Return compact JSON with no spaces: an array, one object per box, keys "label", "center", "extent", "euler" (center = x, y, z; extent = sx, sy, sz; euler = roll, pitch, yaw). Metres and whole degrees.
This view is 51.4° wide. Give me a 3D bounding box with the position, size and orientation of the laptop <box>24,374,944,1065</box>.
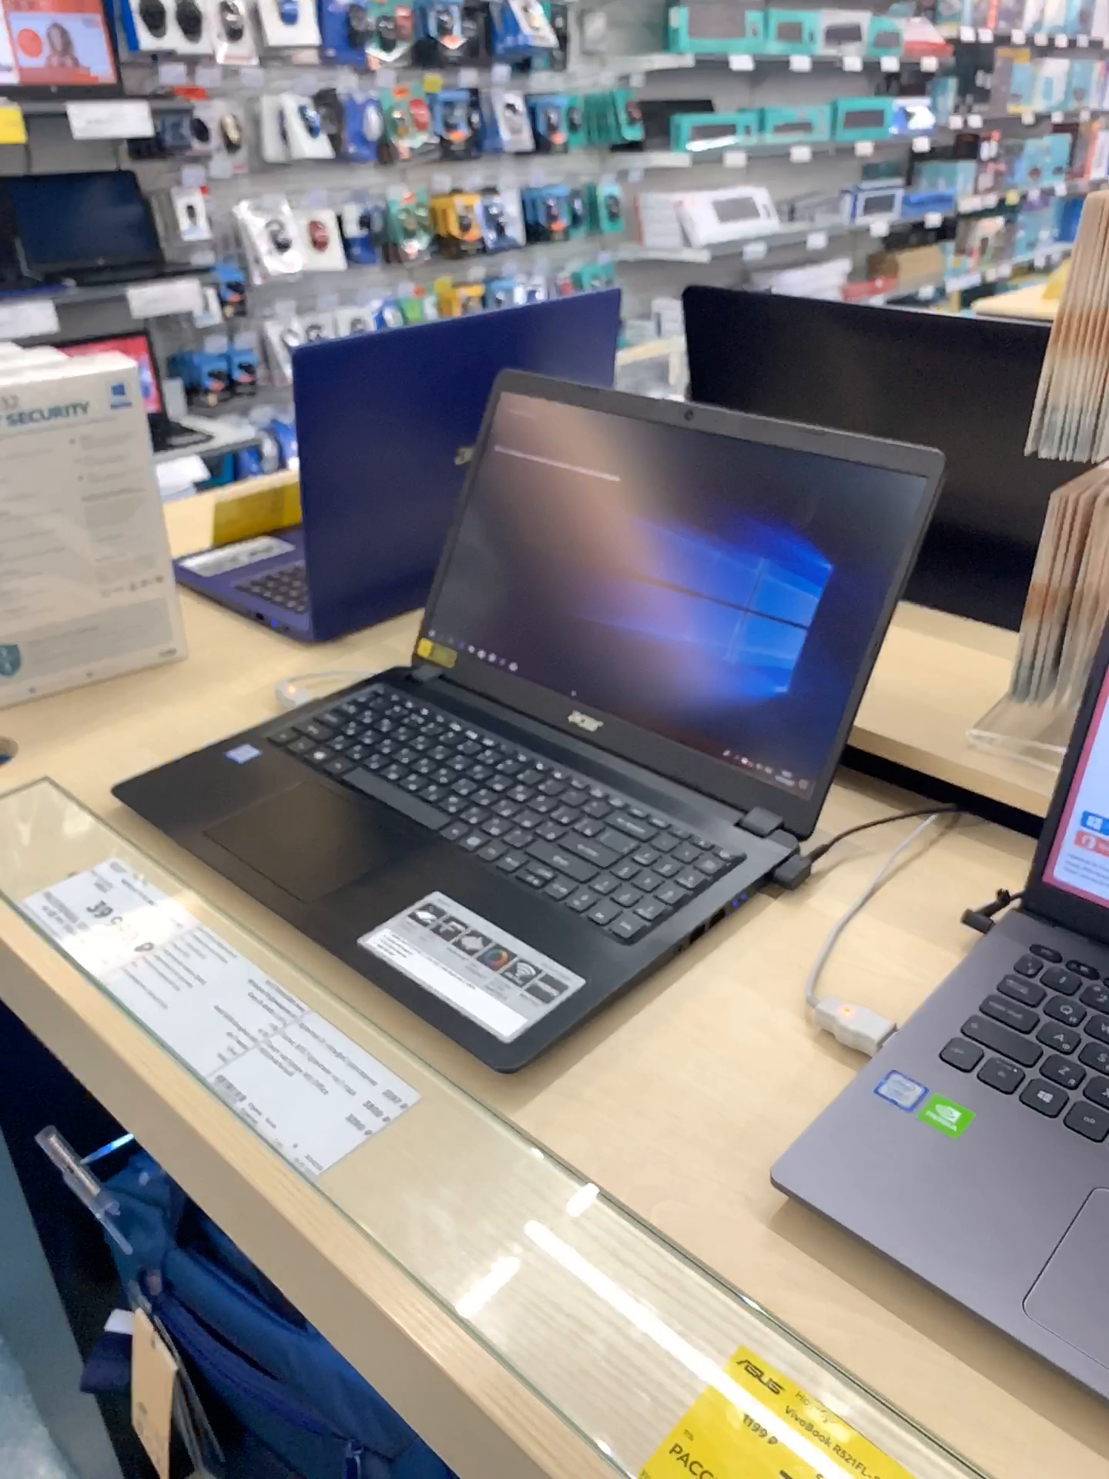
[{"label":"laptop","center":[-0.036,-0.066,0.728],"extent":[0.377,0.216,0.376],"euler":[23,37,37]}]
